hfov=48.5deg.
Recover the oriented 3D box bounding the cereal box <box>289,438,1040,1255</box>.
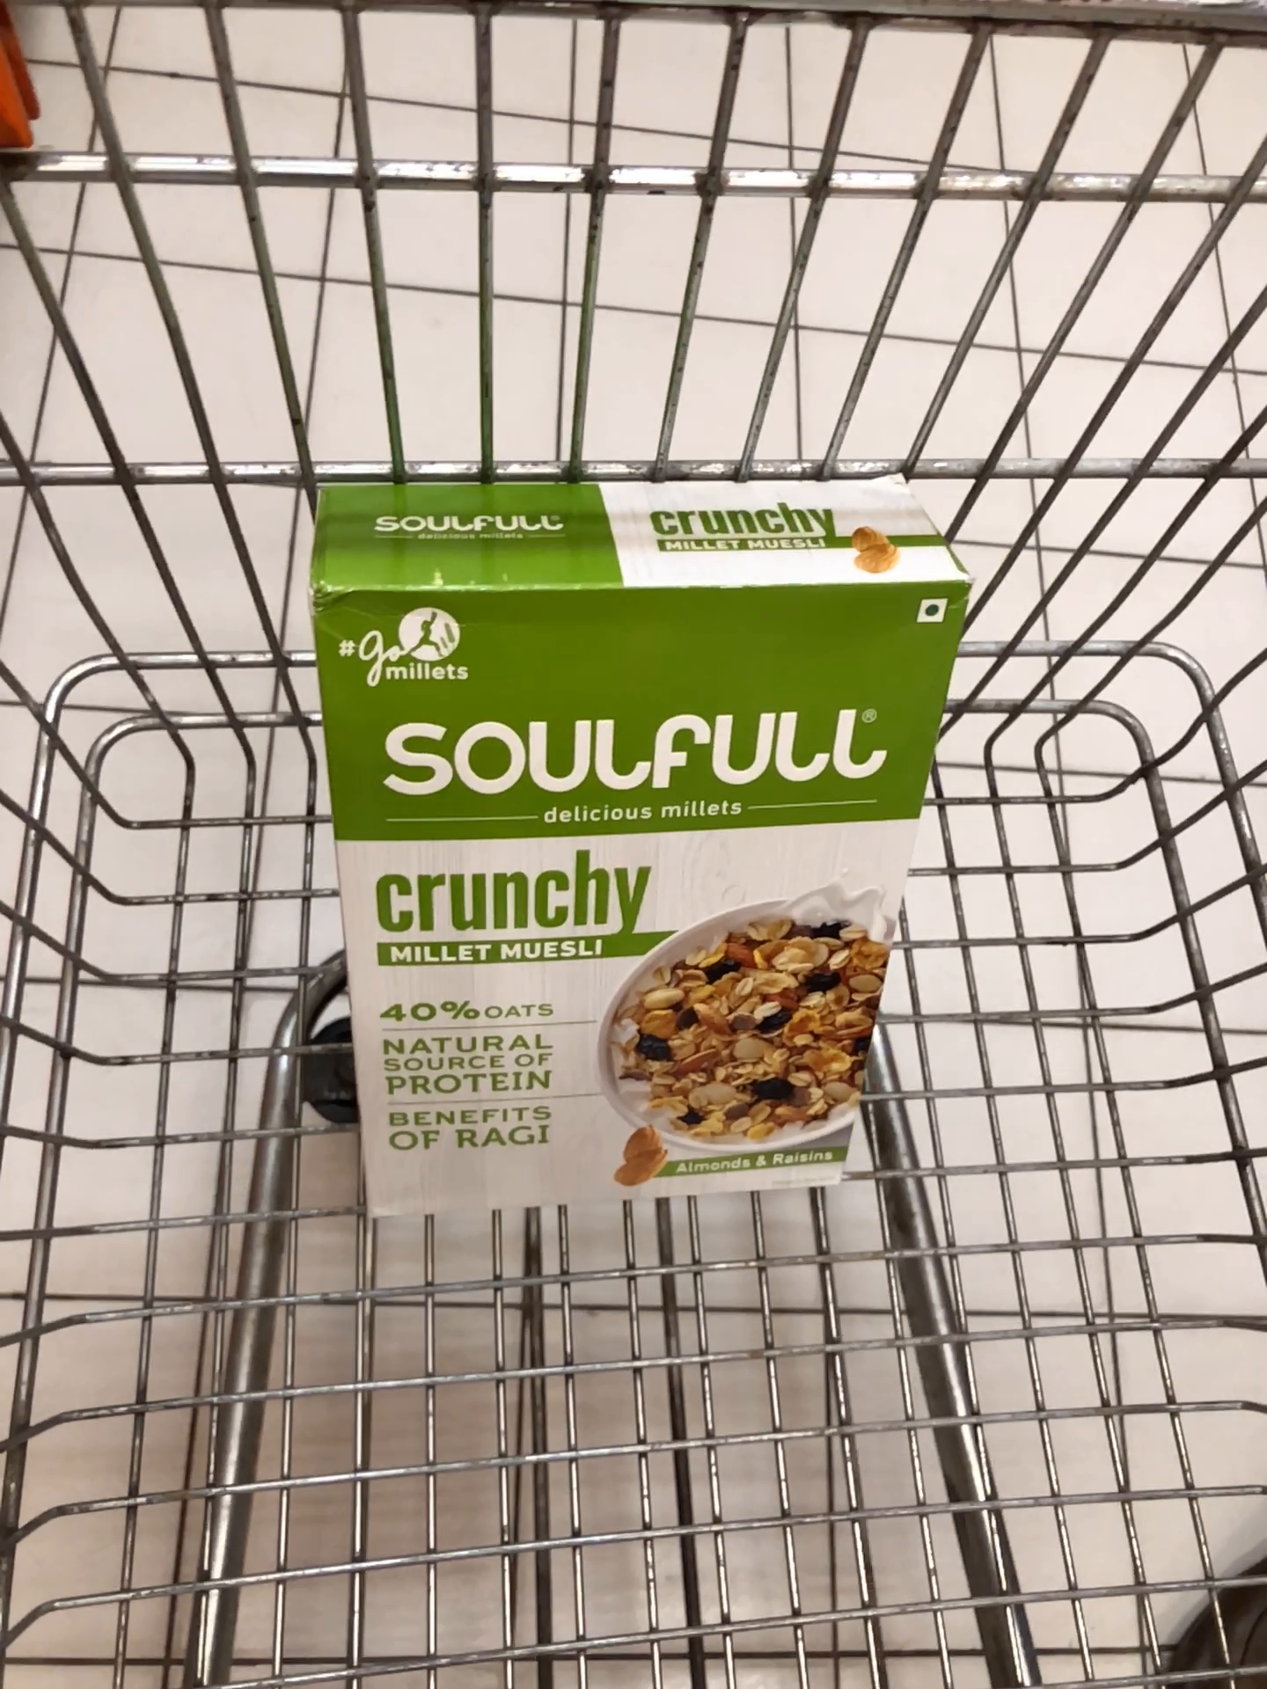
[{"bbox_3d":[-0.001,0.010,0.413,0.170,0.239,0.070,-2,37,-8],"label":"cereal box"}]
